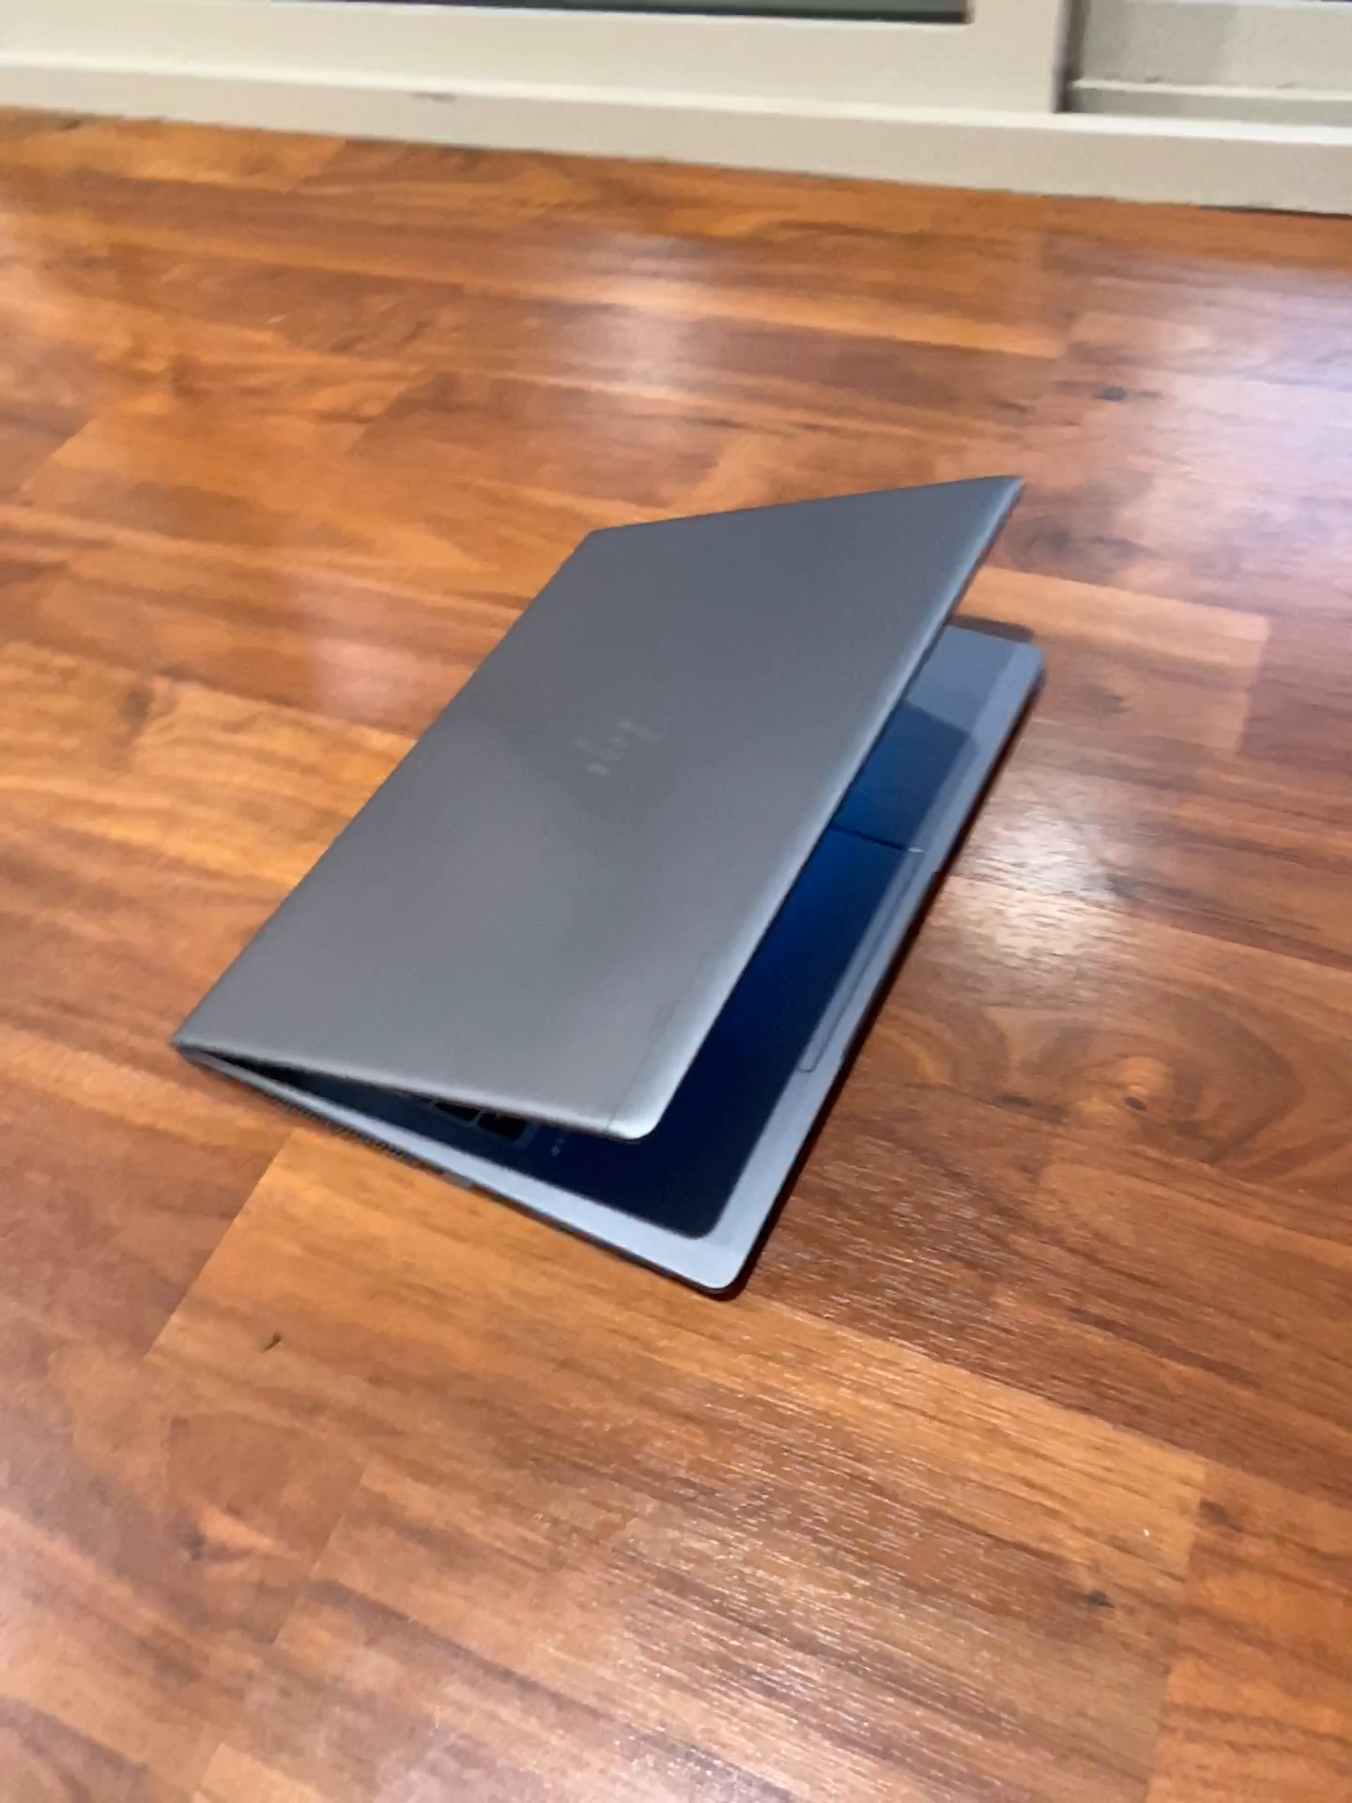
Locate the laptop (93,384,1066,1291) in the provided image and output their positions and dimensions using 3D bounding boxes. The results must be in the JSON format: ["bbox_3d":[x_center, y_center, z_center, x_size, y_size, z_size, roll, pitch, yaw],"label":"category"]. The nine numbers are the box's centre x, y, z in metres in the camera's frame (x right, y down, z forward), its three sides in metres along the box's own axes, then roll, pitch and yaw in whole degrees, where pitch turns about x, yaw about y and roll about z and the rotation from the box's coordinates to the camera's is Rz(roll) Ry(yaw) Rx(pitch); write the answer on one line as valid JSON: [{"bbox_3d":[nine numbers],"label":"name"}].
[{"bbox_3d":[-0.016,-0.055,0.534,0.230,0.077,0.325,19,57,20],"label":"laptop"}]
